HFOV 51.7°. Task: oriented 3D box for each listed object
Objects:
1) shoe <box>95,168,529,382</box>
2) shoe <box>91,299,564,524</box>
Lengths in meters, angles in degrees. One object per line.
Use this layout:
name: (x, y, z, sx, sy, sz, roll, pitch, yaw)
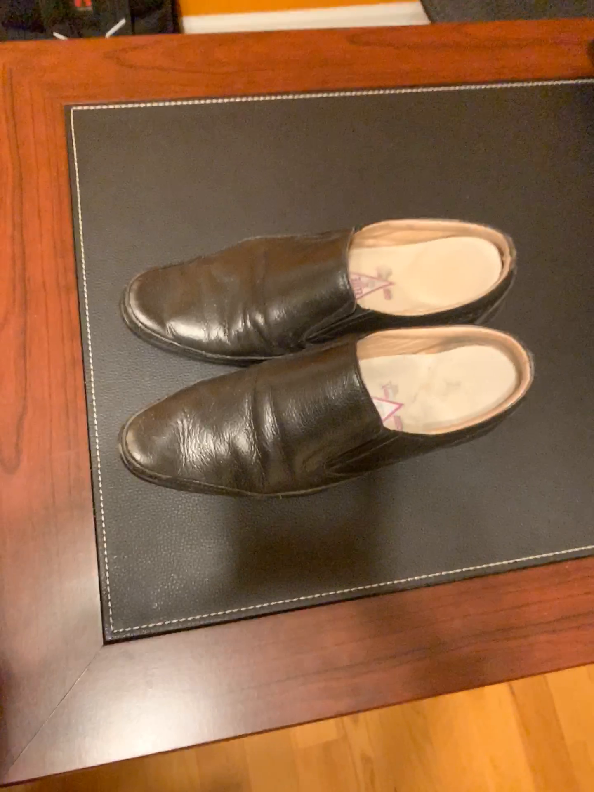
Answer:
shoe: (0.008, -0.089, 0.453, 0.284, 0.078, 0.110, -6, 74, -9)
shoe: (0.017, 0.011, 0.418, 0.284, 0.078, 0.106, -6, 74, -9)
